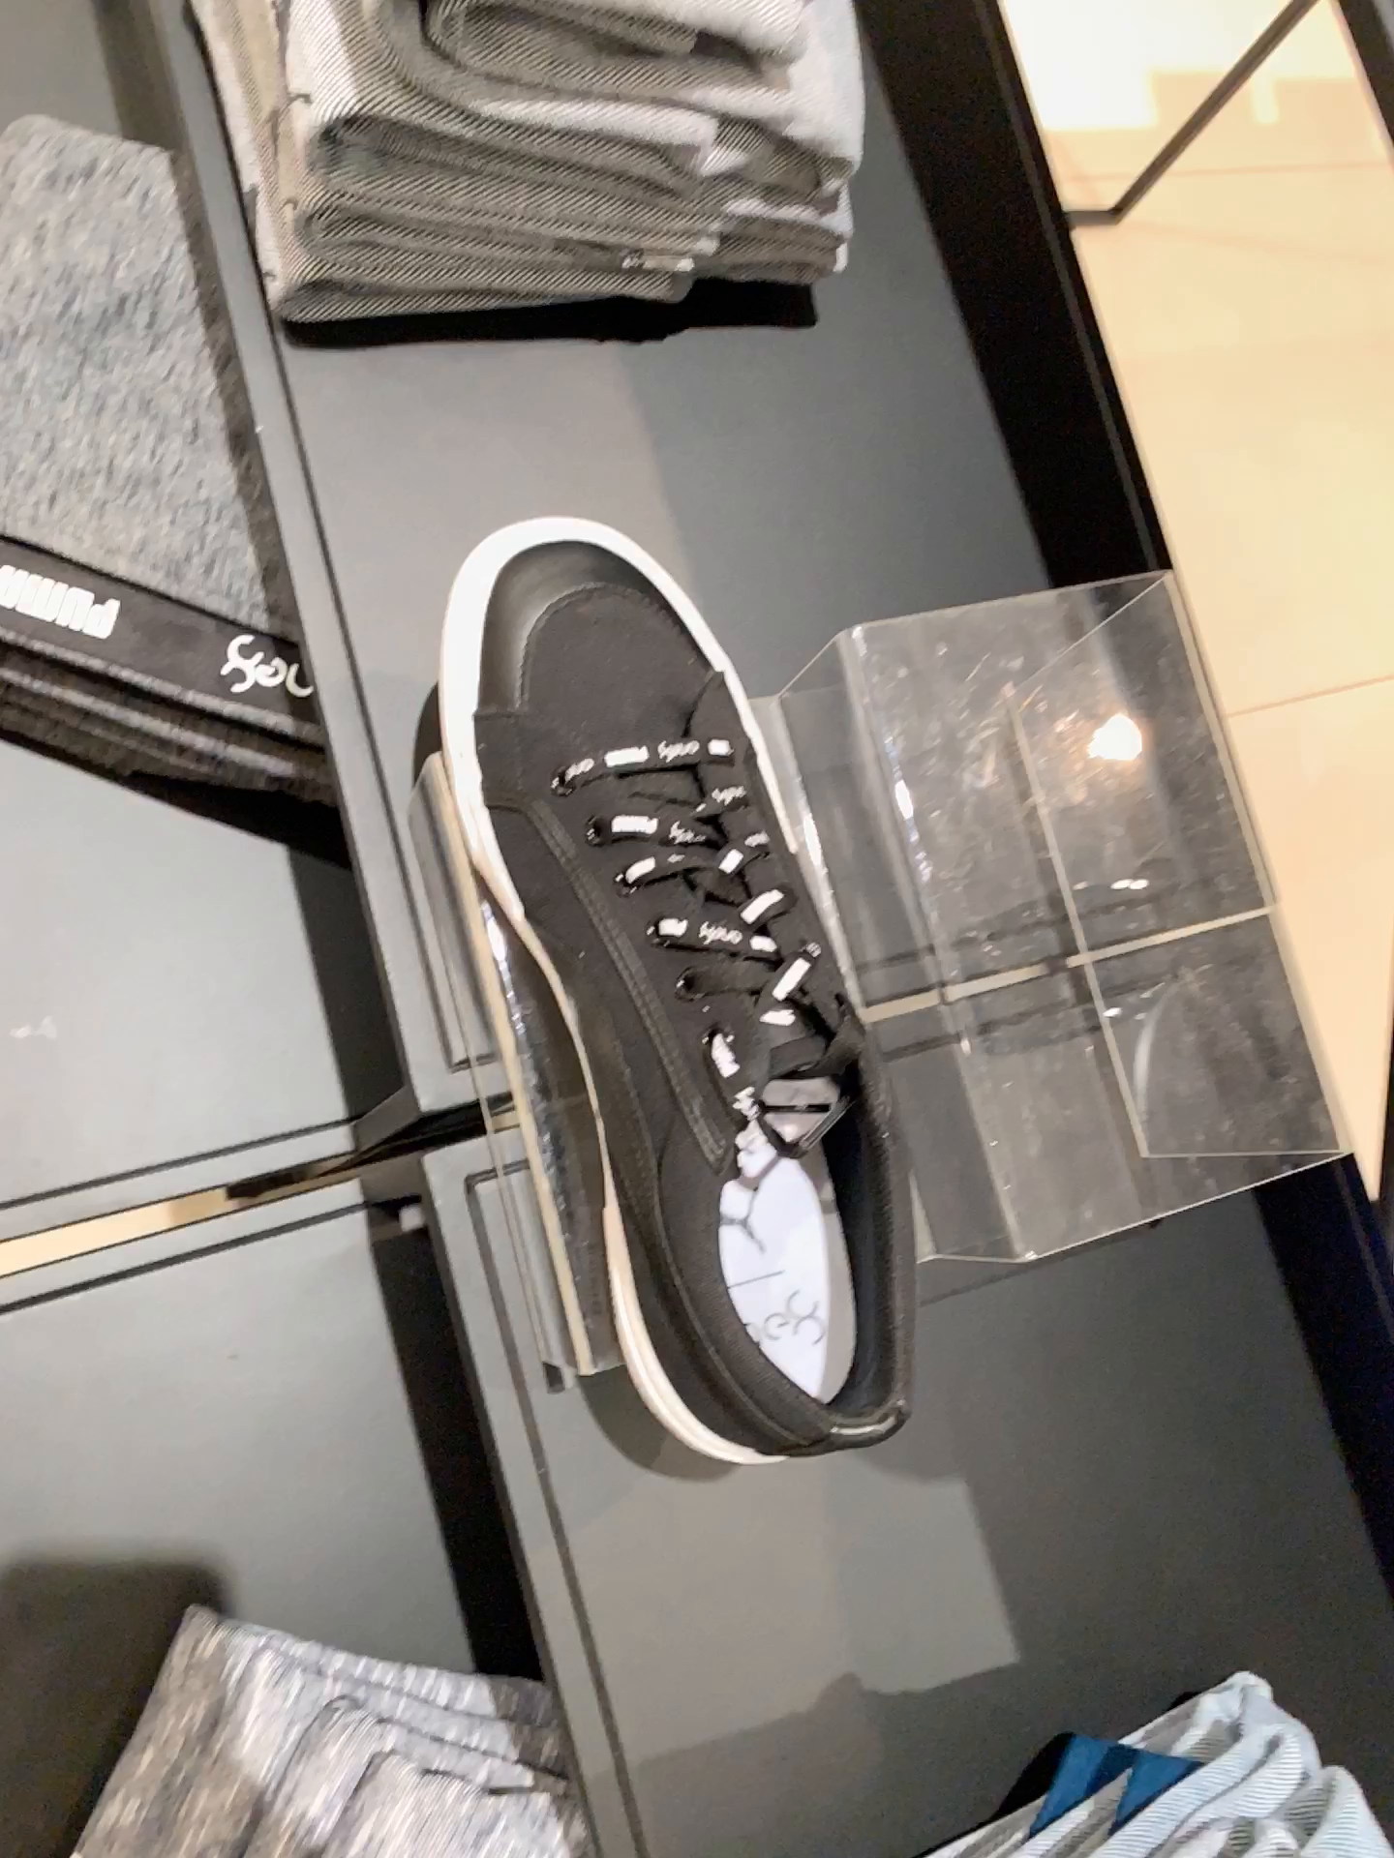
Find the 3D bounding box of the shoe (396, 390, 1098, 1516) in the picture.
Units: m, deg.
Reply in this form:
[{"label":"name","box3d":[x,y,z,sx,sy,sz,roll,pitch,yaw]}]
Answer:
[{"label":"shoe","box3d":[0.004,0.001,0.416,0.110,0.100,0.280,-12,82,-21]}]
